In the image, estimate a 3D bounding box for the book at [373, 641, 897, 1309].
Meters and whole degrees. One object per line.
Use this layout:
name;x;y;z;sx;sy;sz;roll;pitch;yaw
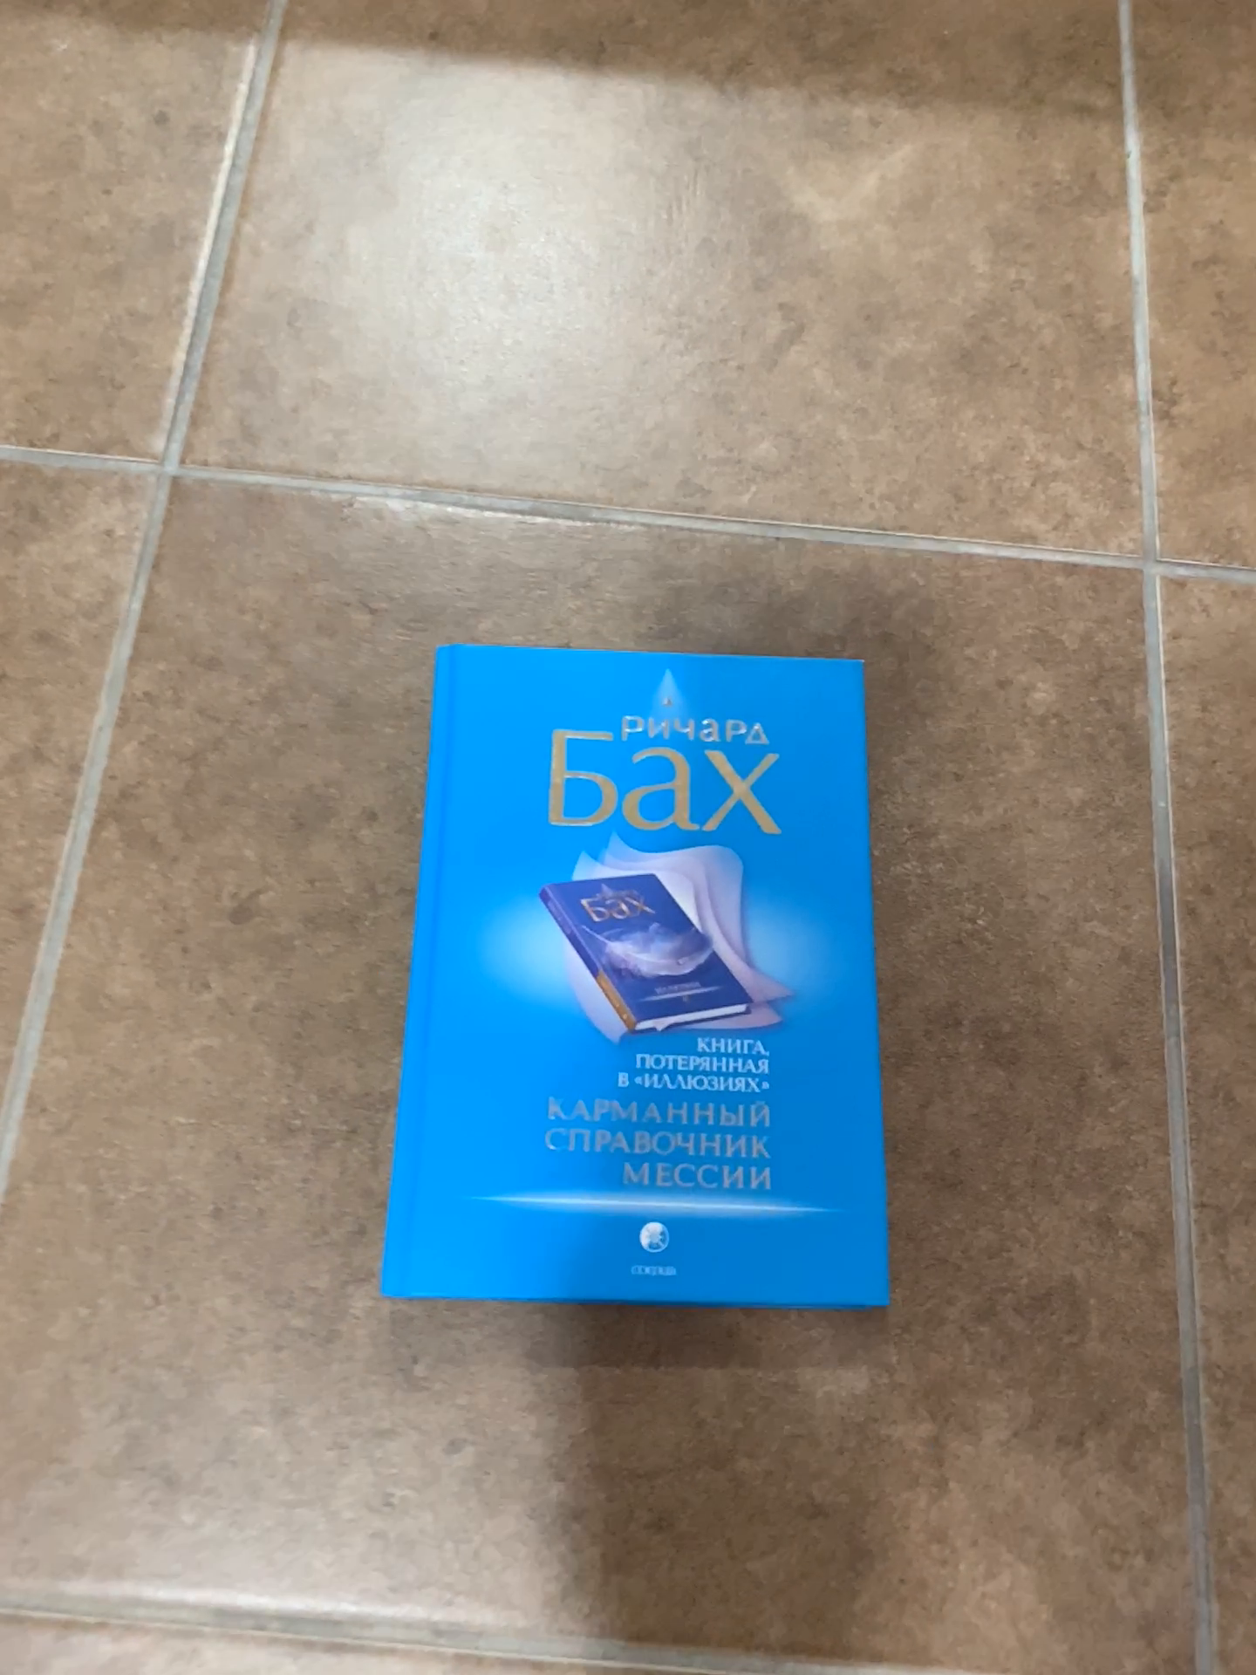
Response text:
book;0.004;0.031;0.332;0.122;0.015;0.169;2;71;-1
